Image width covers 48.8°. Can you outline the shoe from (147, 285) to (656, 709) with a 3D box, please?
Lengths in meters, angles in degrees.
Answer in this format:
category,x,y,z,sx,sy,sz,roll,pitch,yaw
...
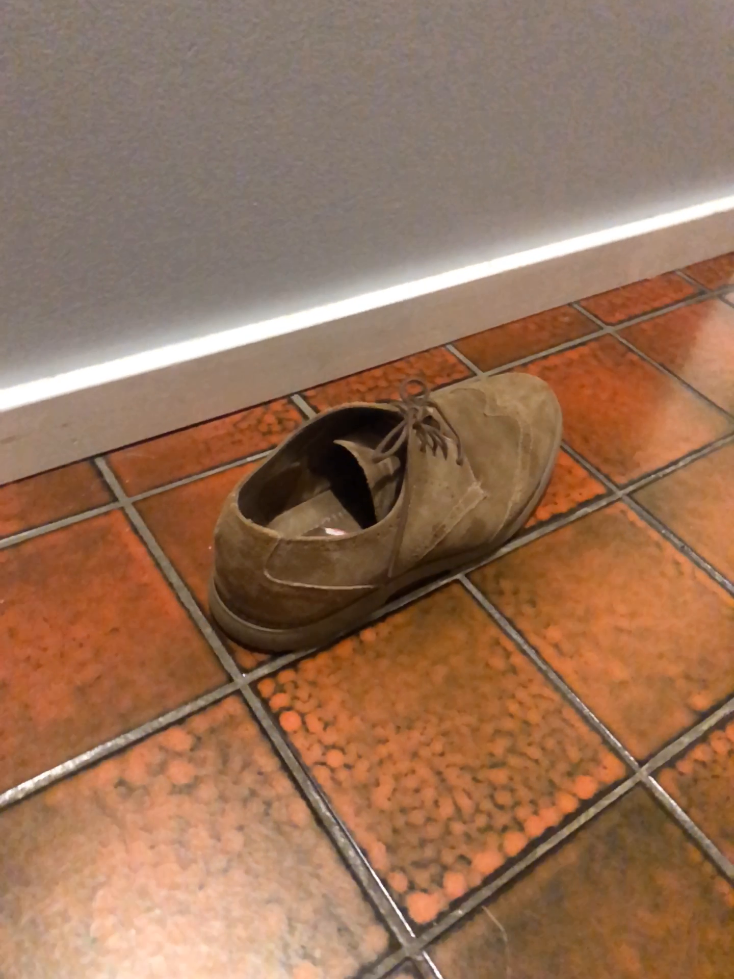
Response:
category,x,y,z,sx,sy,sz,roll,pitch,yaw
shoe,0.031,-0.015,0.504,0.301,0.100,0.120,-29,57,-33
